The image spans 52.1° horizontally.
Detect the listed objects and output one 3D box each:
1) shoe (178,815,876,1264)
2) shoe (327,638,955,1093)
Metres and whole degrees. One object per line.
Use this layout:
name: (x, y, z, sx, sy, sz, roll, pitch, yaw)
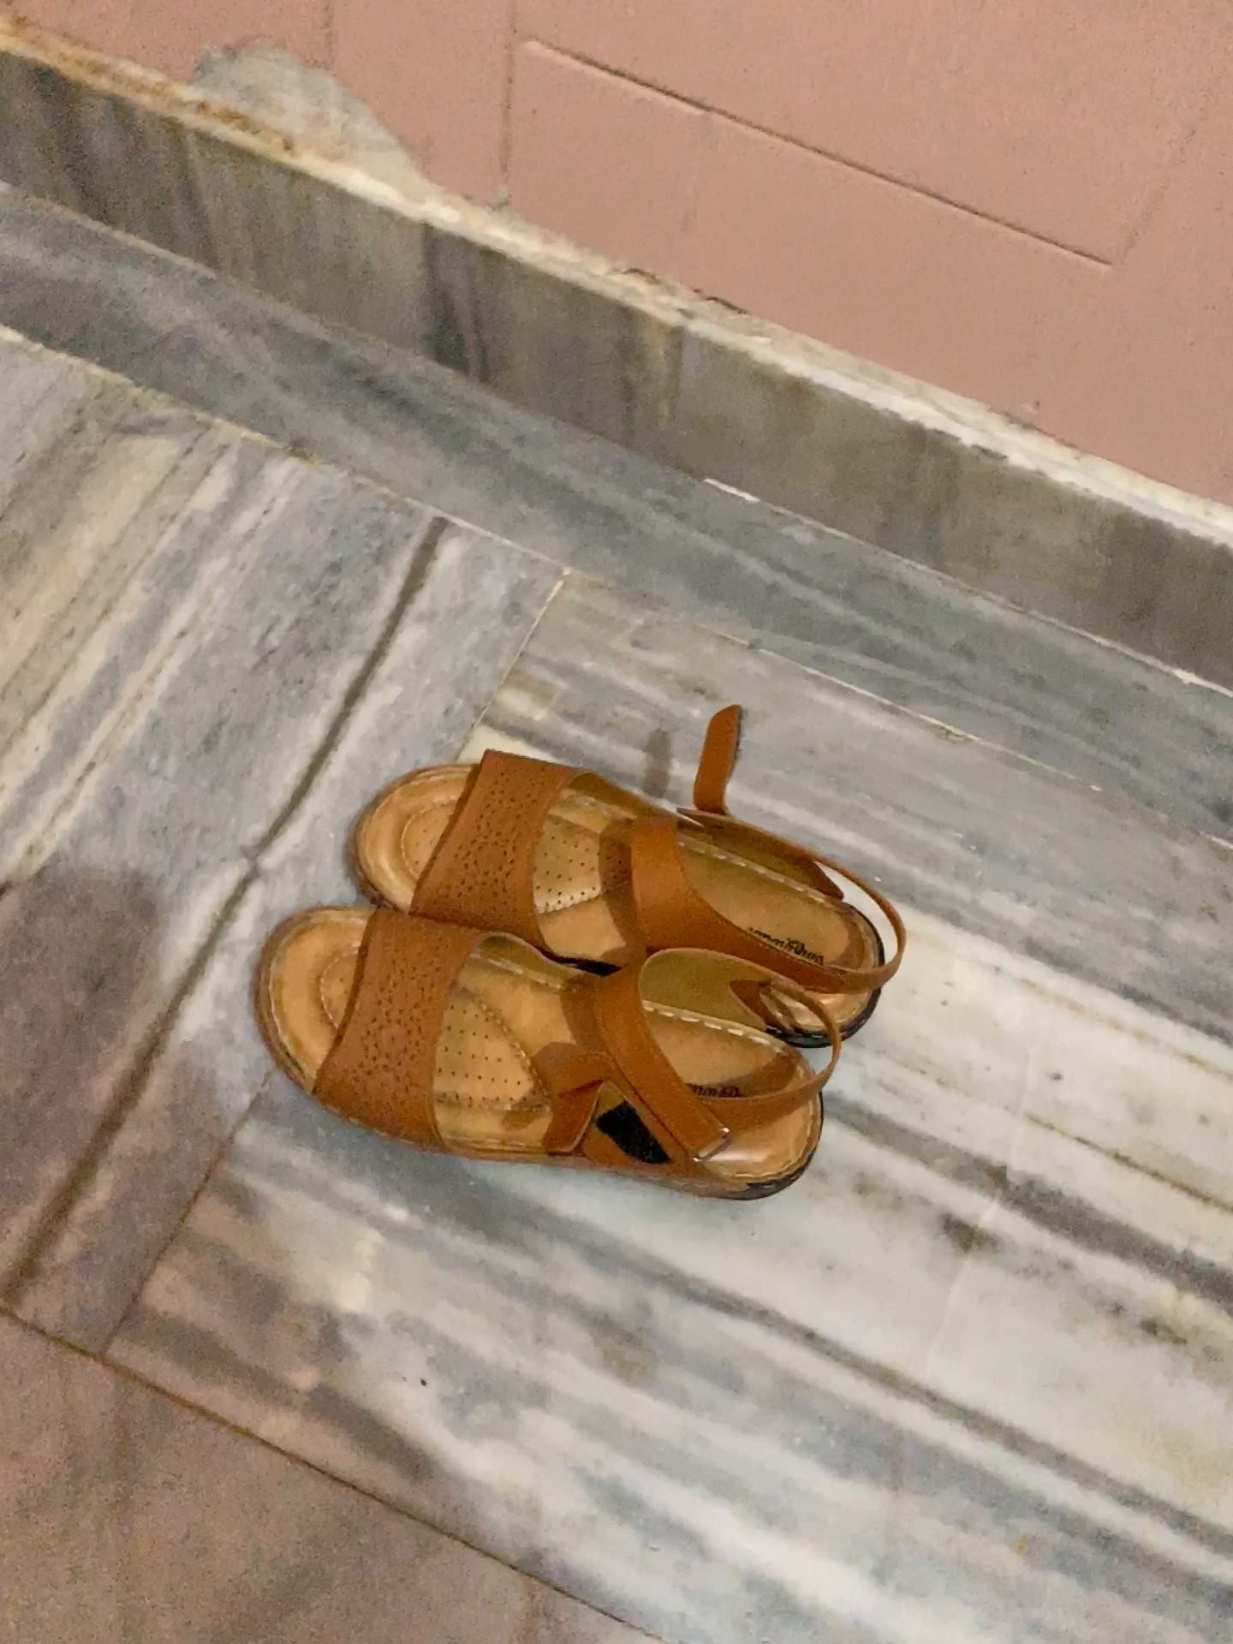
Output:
shoe: (-0.036, 0.096, 0.534, 0.256, 0.100, 0.090, 17, 62, 1)
shoe: (0.008, 0.023, 0.572, 0.250, 0.100, 0.090, 21, 62, 3)
